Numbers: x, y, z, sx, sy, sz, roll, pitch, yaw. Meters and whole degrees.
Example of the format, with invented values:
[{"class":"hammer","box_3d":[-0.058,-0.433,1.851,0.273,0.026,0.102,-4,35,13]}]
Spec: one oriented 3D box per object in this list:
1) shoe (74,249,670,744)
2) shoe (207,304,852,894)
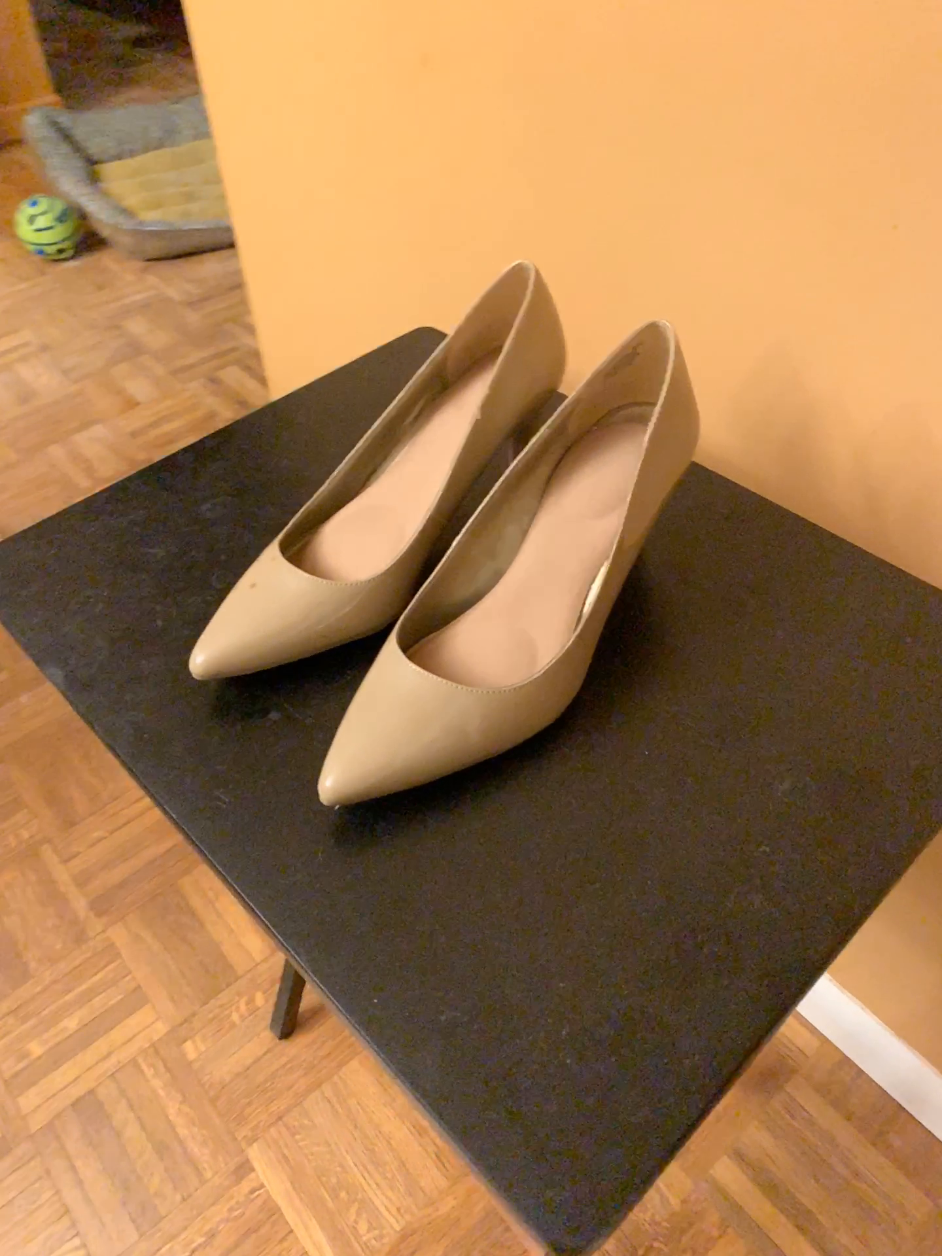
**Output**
[{"class":"shoe","box_3d":[-0.032,-0.085,0.500,0.100,0.090,0.301,34,57,30]},{"class":"shoe","box_3d":[0.042,-0.033,0.442,0.100,0.090,0.301,34,57,30]}]
